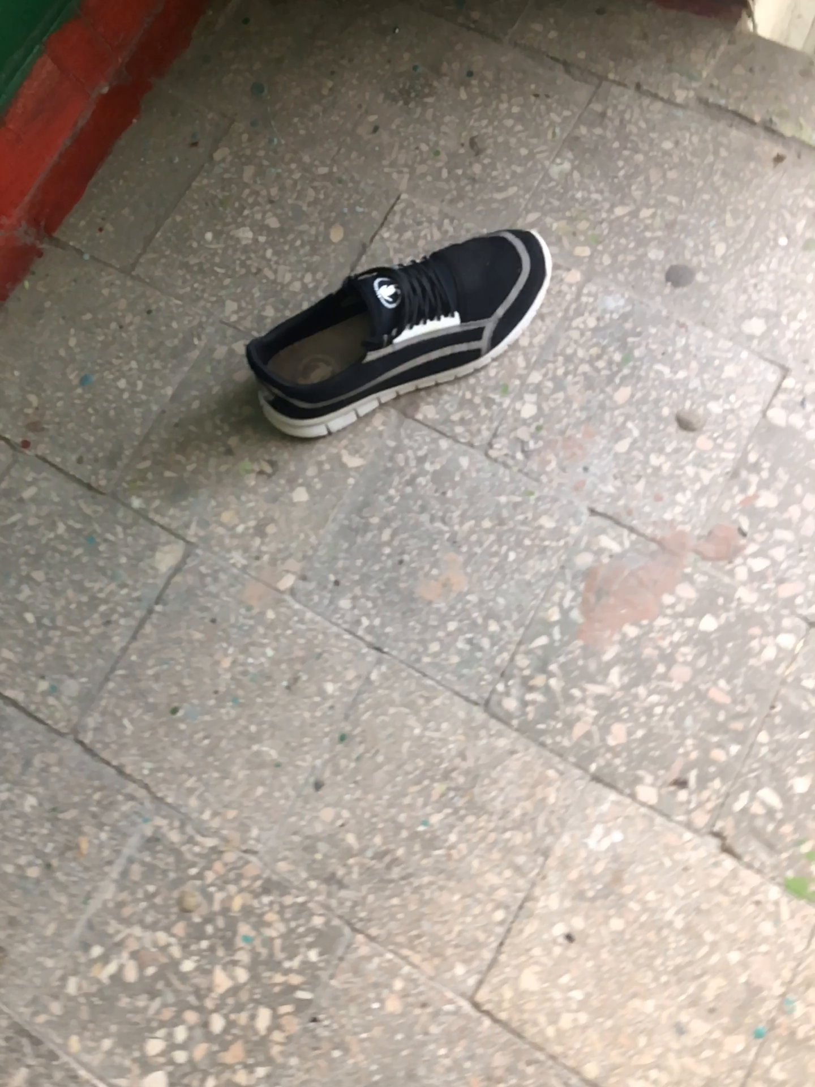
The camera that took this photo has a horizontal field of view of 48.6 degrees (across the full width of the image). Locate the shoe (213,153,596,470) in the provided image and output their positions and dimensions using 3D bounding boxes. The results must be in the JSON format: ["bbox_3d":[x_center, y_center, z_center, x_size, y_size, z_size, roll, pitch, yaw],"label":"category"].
[{"bbox_3d":[0.002,-0.185,0.749,0.280,0.120,0.100,-27,75,-1],"label":"shoe"}]
